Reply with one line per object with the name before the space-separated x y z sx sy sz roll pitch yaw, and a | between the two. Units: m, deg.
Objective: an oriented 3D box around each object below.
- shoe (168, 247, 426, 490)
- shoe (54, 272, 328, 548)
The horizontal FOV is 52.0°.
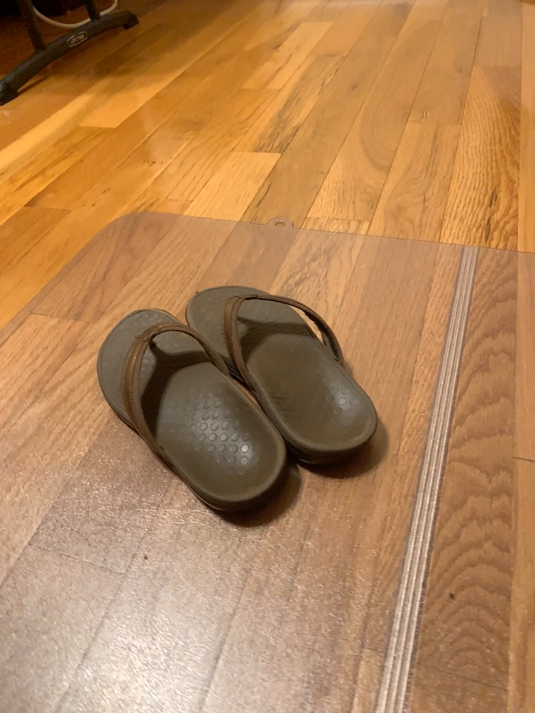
shoe | 0.012 -0.007 0.486 0.092 0.049 0.252 -28 47 -20
shoe | -0.072 0.026 0.457 0.100 0.061 0.247 -33 49 -24
